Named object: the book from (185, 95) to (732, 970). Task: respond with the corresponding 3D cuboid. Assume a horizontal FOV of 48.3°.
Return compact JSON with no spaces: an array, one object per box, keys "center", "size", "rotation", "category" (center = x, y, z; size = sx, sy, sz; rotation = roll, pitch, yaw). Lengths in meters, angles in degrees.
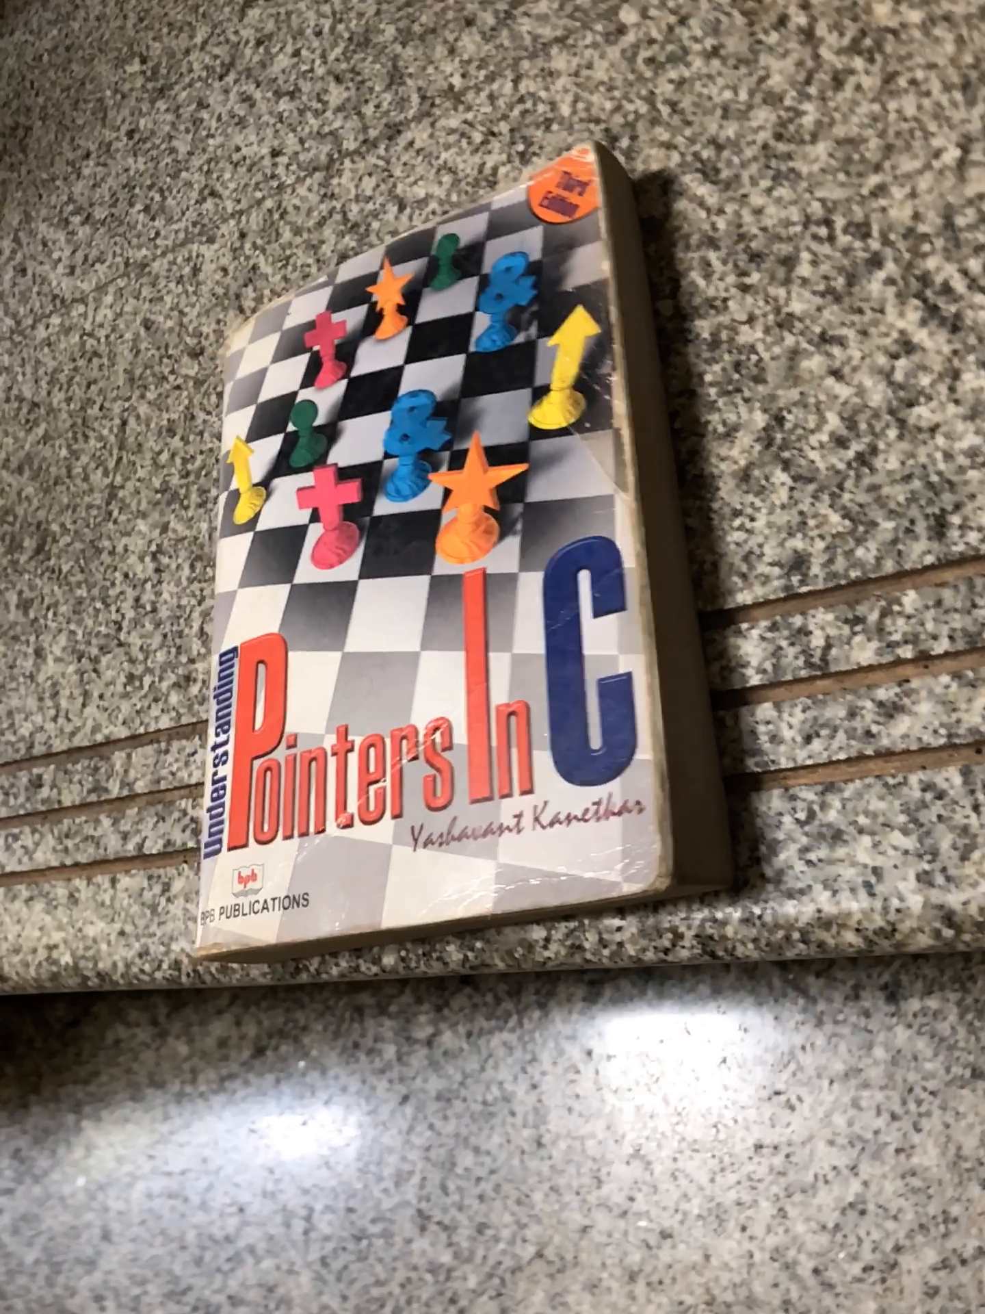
[{"center":[-0.017,-0.033,0.308],"size":[0.141,0.030,0.220],"rotation":[-15,64,30],"category":"book"}]
